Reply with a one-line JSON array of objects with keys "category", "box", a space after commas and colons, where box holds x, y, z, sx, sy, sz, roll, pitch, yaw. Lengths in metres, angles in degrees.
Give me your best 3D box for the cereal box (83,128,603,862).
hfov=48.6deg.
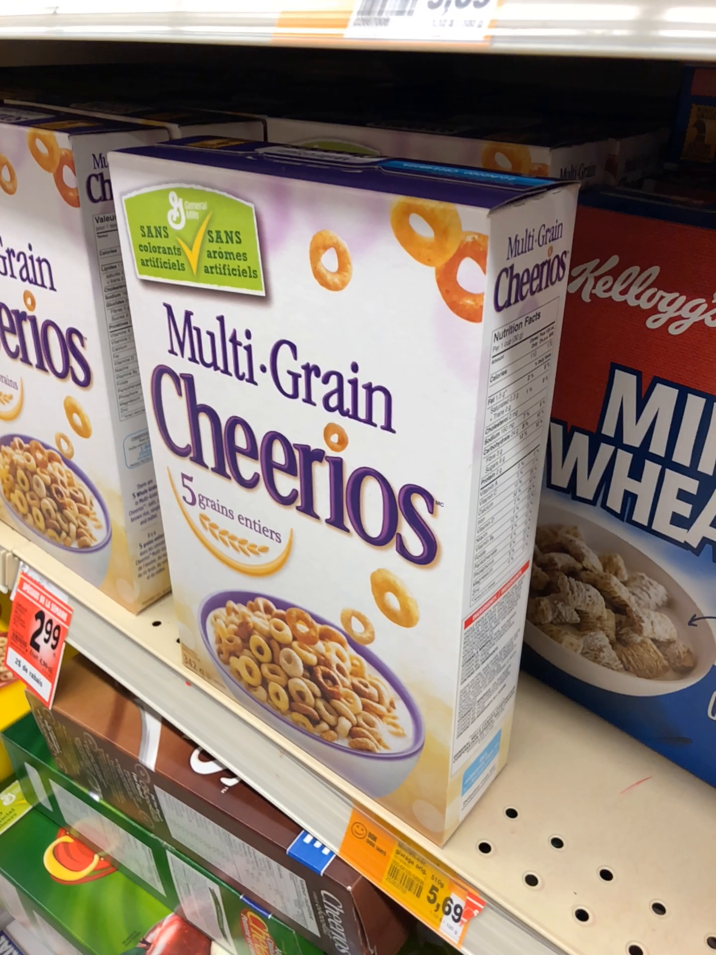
[{"category": "cereal box", "box": [-0.018, 0.004, 0.358, 0.201, 0.278, 0.060, 23, 37, 35]}]
